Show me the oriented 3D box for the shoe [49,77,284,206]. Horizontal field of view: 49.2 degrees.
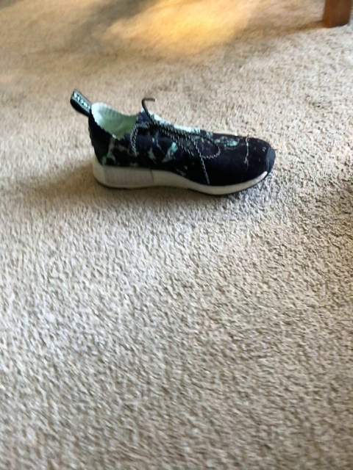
[{"bbox_3d":[-0.006,-0.134,0.538,0.286,0.100,0.132,6,55,19],"label":"shoe"}]
